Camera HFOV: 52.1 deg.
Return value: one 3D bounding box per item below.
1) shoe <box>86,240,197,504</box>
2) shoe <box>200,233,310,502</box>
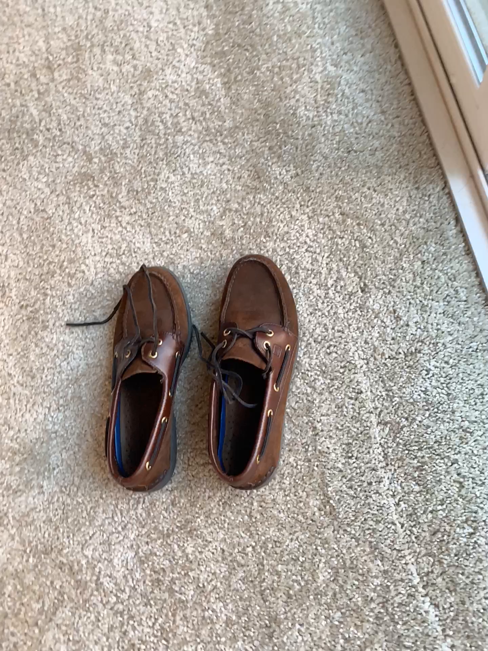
[{"bbox_3d":[-0.127,0.060,0.659,0.100,0.100,0.320,-3,76,12],"label":"shoe"},{"bbox_3d":[0.015,0.052,0.612,0.110,0.100,0.300,-3,76,12],"label":"shoe"}]
